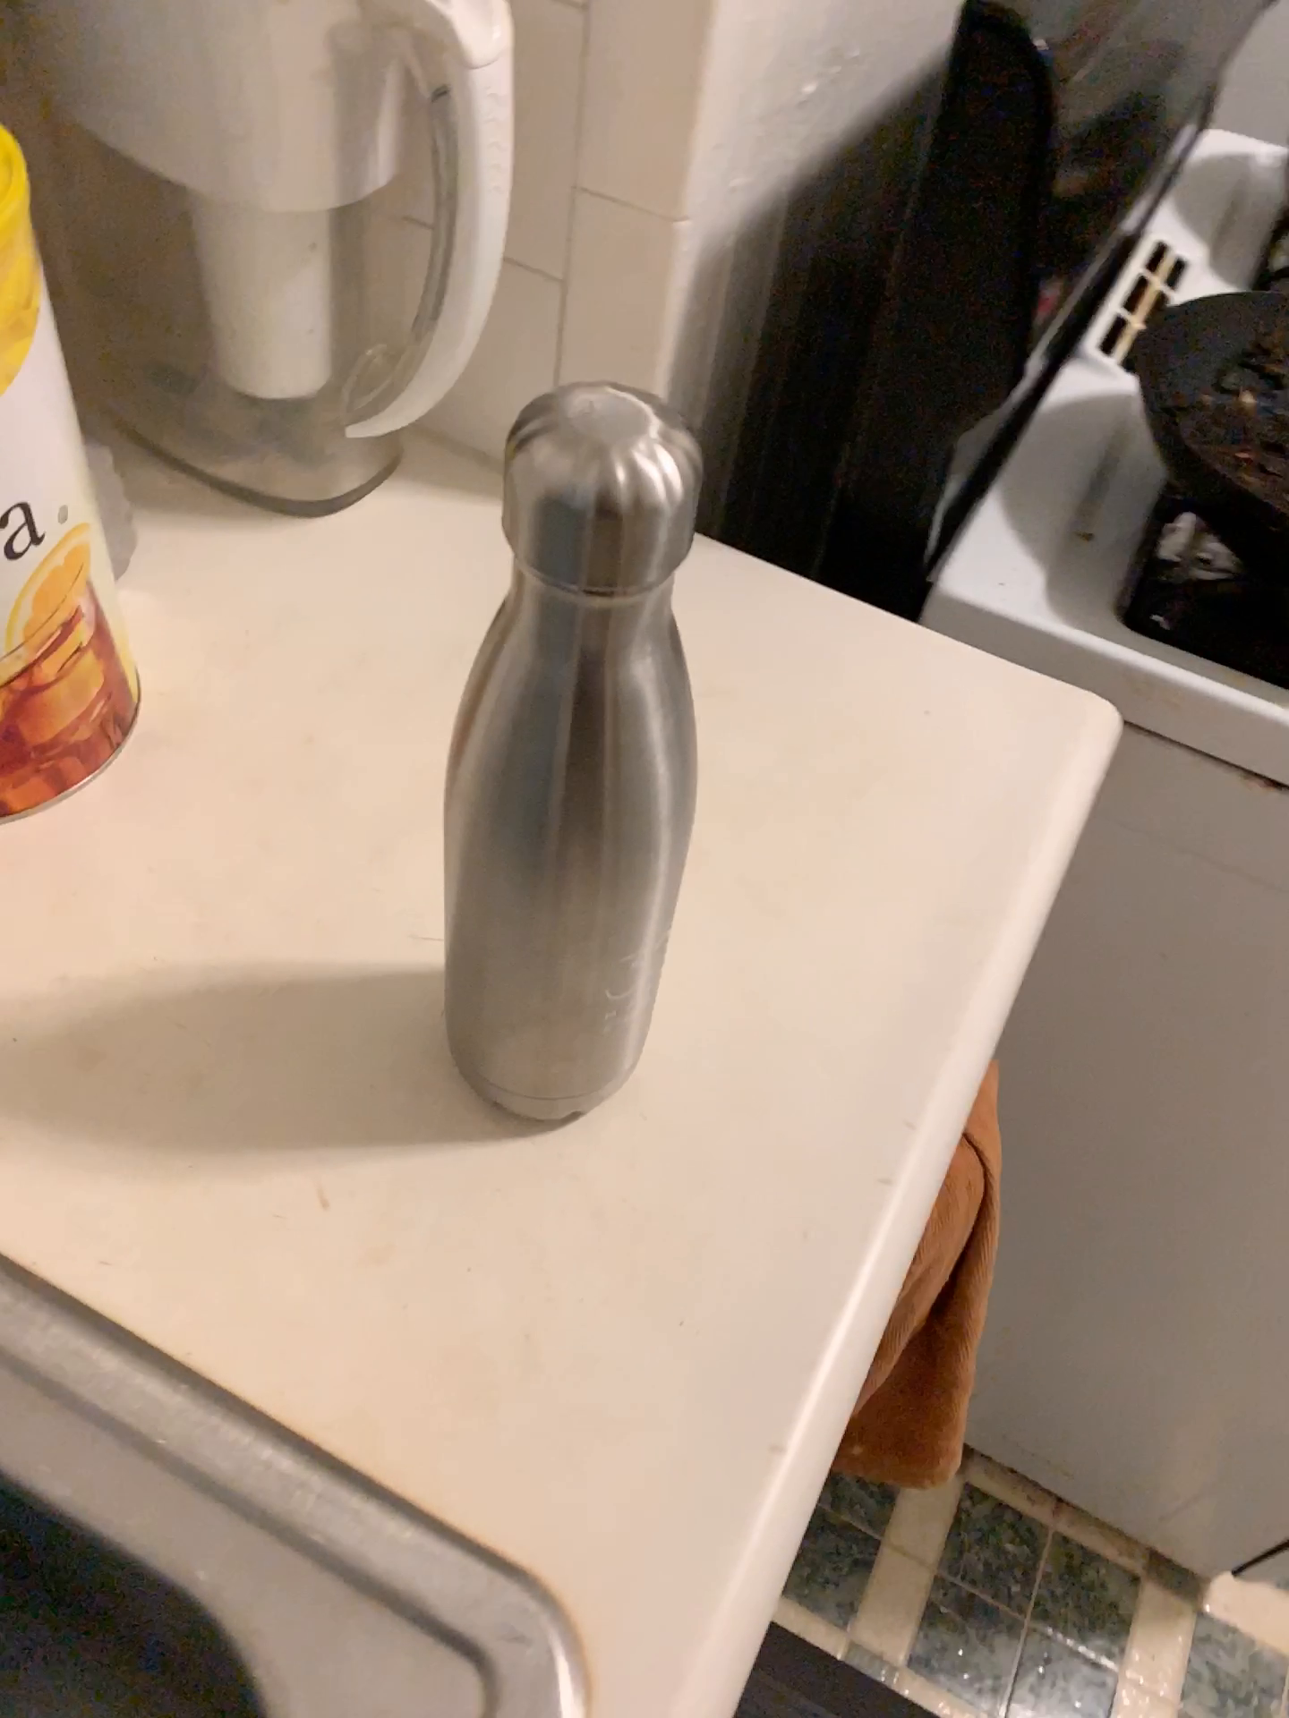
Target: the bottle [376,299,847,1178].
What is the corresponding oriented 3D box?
[{"bbox_3d":[-0.021,-0.012,0.369,0.070,0.249,0.070,5,51,-6],"label":"bottle"}]
